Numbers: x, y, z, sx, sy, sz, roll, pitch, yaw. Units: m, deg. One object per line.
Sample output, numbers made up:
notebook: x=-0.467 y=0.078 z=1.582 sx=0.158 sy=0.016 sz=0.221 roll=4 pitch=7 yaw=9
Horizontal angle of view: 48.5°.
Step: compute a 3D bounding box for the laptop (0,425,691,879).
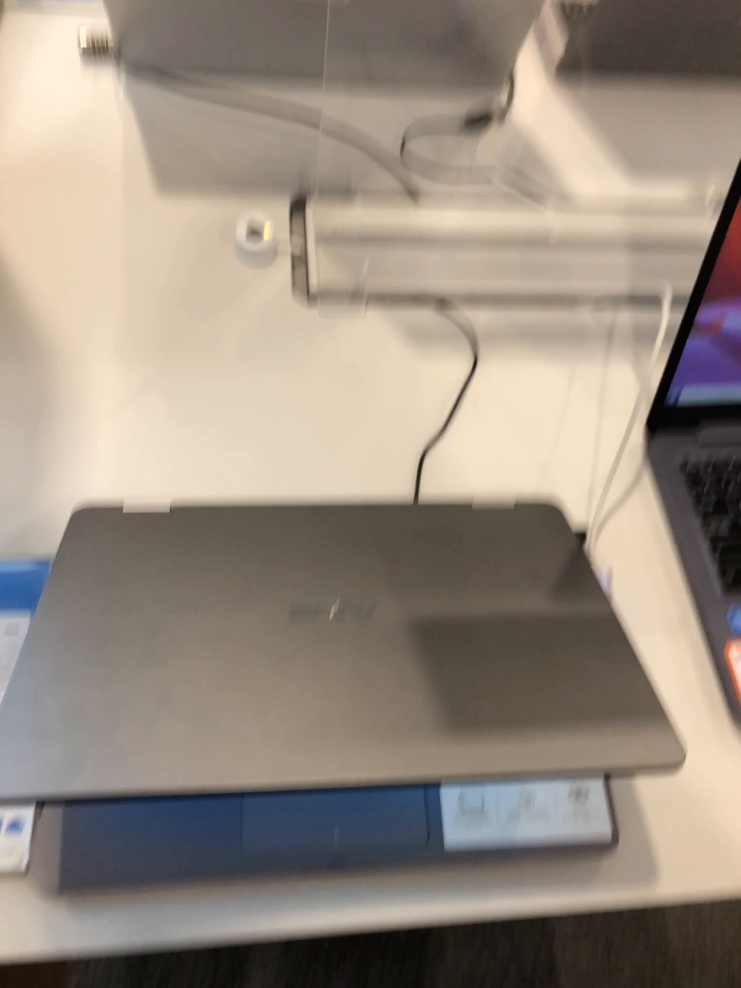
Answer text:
laptop: x=-0.027 y=0.082 z=0.452 sx=0.321 sy=0.106 sz=0.215 roll=0 pitch=61 yaw=-6
